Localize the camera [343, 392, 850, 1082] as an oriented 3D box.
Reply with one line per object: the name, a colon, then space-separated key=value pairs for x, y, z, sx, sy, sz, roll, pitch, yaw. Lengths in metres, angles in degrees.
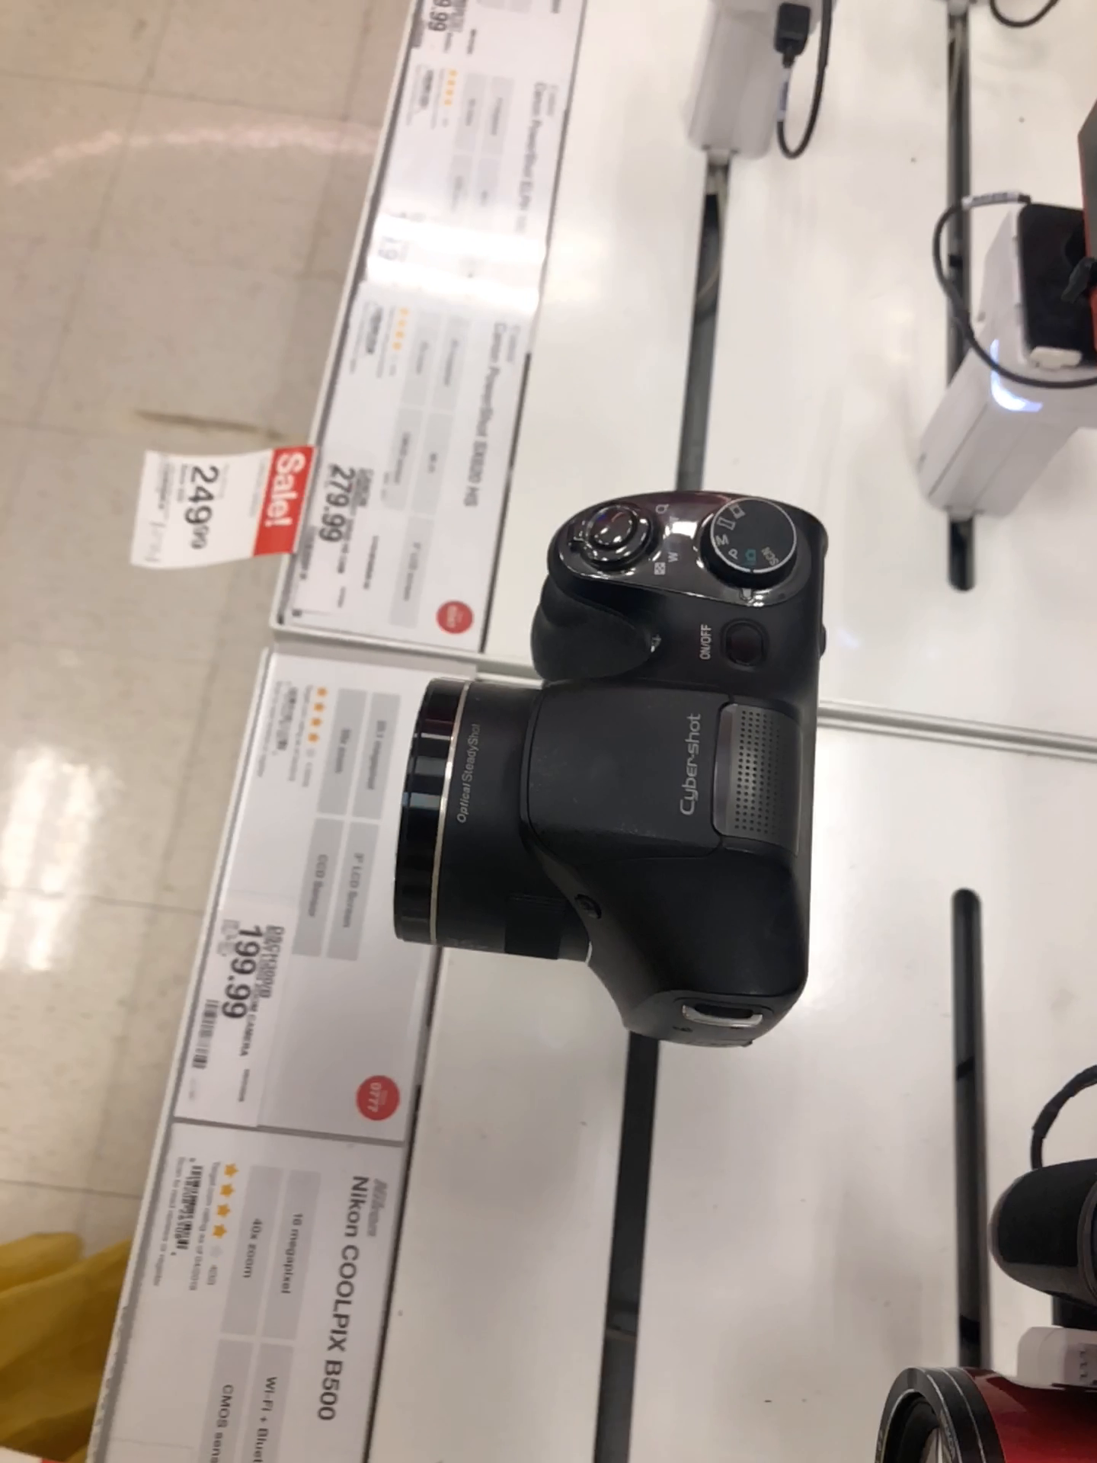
camera: x=0.013 y=0.006 z=0.293 sx=0.090 sy=0.090 sz=0.130 roll=8 pitch=68 yaw=0
